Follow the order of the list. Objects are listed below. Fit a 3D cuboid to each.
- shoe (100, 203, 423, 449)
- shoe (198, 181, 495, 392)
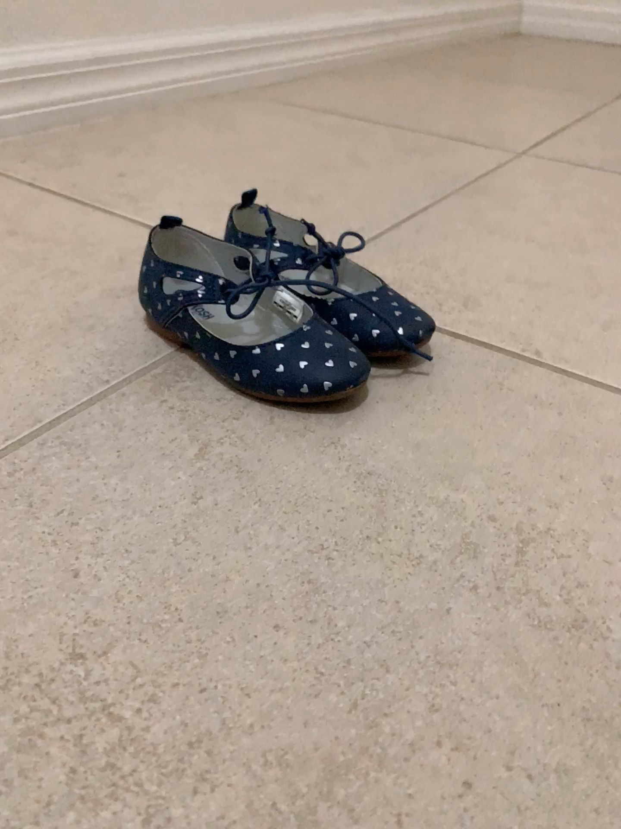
[{"bbox_3d":[-0.033,-0.059,0.361,0.171,0.061,0.071,29,43,30],"label":"shoe"},{"bbox_3d":[0.015,-0.088,0.404,0.171,0.061,0.071,29,43,30],"label":"shoe"}]
